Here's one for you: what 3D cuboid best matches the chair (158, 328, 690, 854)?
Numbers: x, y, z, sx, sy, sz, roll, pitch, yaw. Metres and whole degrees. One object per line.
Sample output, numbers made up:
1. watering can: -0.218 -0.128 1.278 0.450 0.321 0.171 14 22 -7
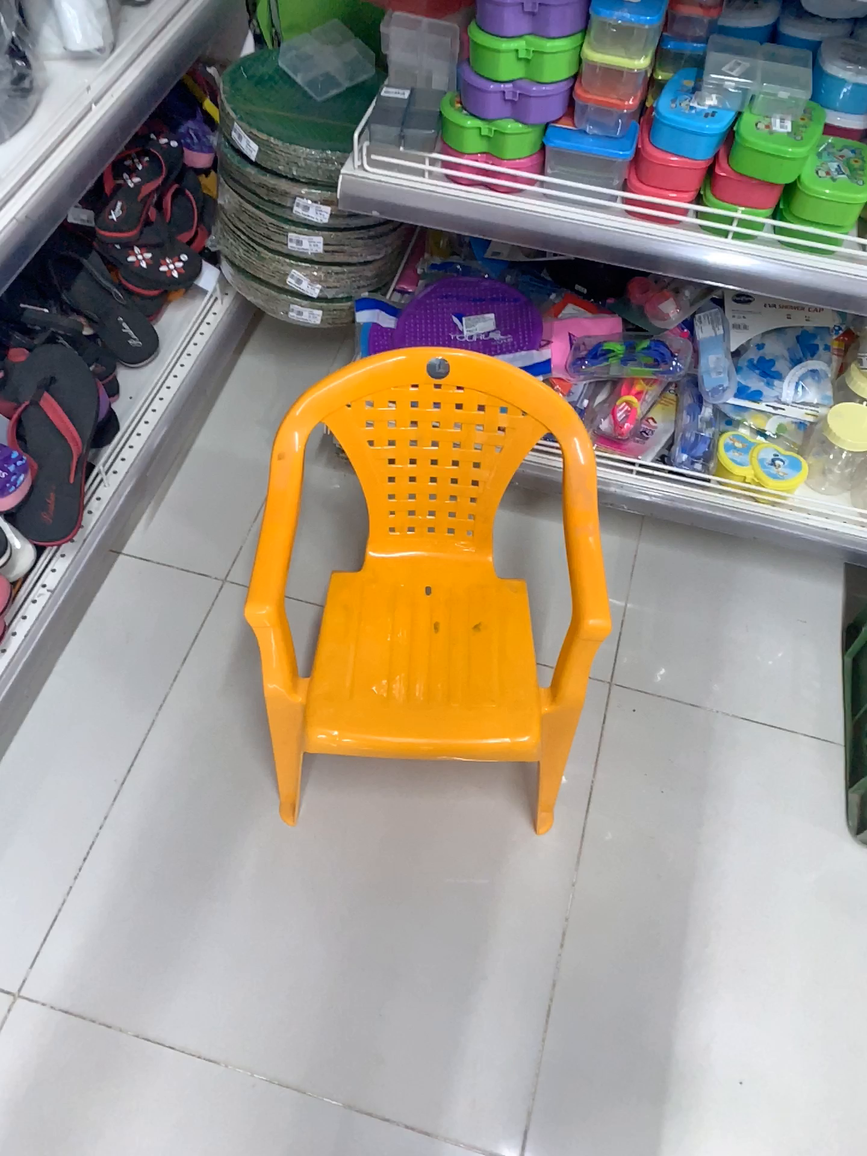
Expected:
1. chair: -0.005 0.041 0.954 0.400 0.459 0.360 3 57 0
